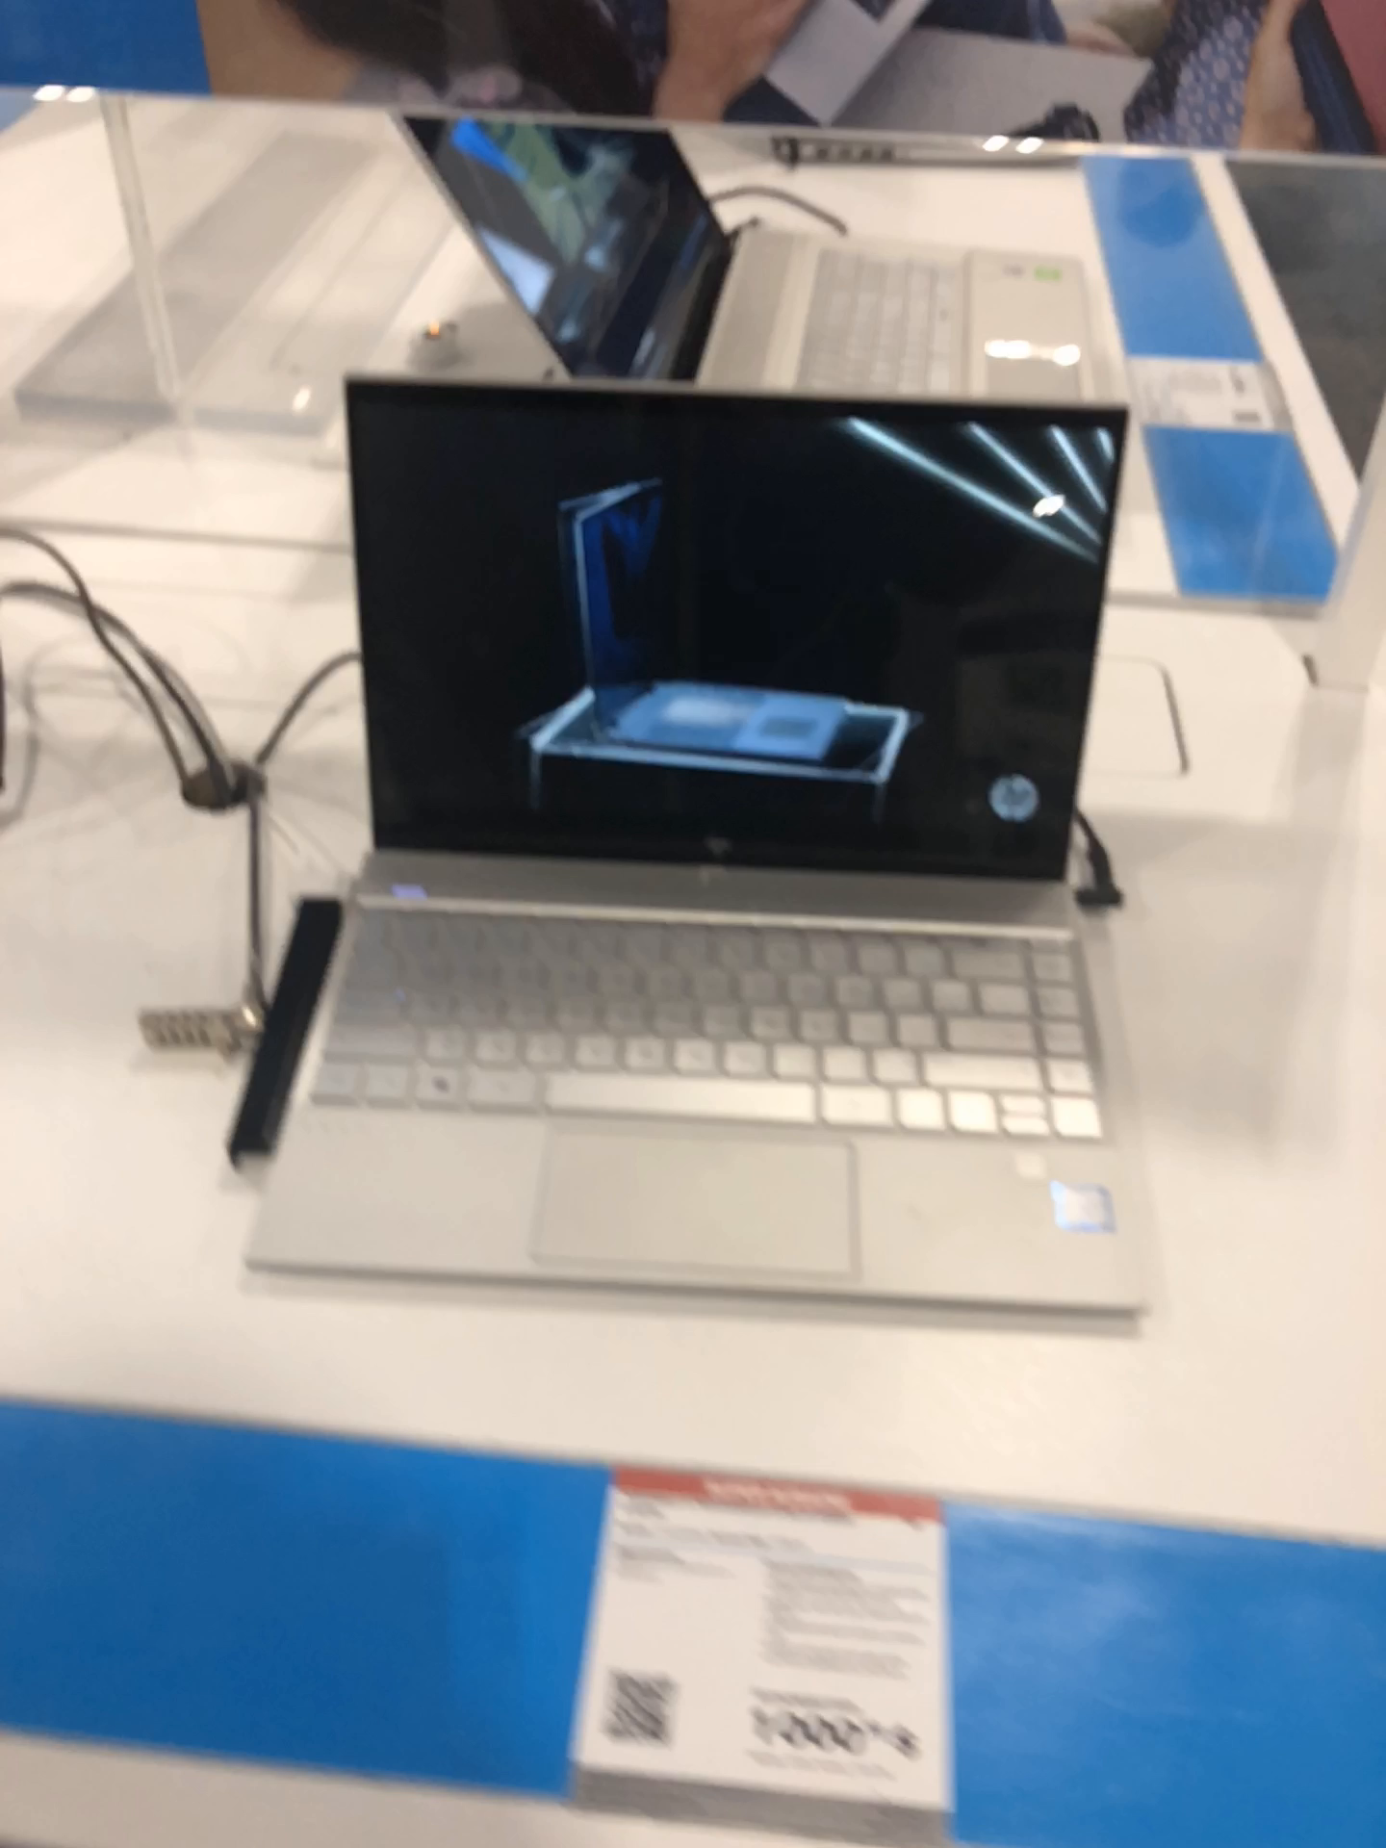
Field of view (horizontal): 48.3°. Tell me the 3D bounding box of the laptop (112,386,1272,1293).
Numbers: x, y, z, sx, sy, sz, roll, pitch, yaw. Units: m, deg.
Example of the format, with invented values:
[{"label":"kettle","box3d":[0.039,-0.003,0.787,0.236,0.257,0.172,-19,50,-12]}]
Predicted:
[{"label":"laptop","box3d":[0.007,-0.042,0.557,0.298,0.182,0.273,2,44,1]}]
